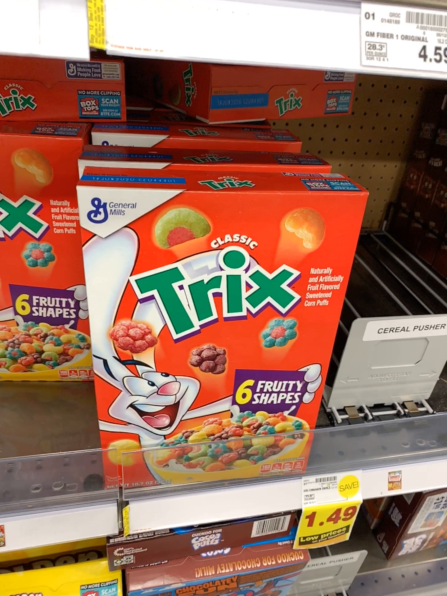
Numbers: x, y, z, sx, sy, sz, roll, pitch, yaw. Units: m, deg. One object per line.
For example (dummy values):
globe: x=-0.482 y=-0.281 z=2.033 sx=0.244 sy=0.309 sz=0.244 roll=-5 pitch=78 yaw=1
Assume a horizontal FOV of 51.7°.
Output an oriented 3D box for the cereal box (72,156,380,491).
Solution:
cereal box: x=-0.009 y=0.036 z=0.394 sx=0.200 sy=0.289 sz=0.060 roll=-2 pitch=32 yaw=-11
